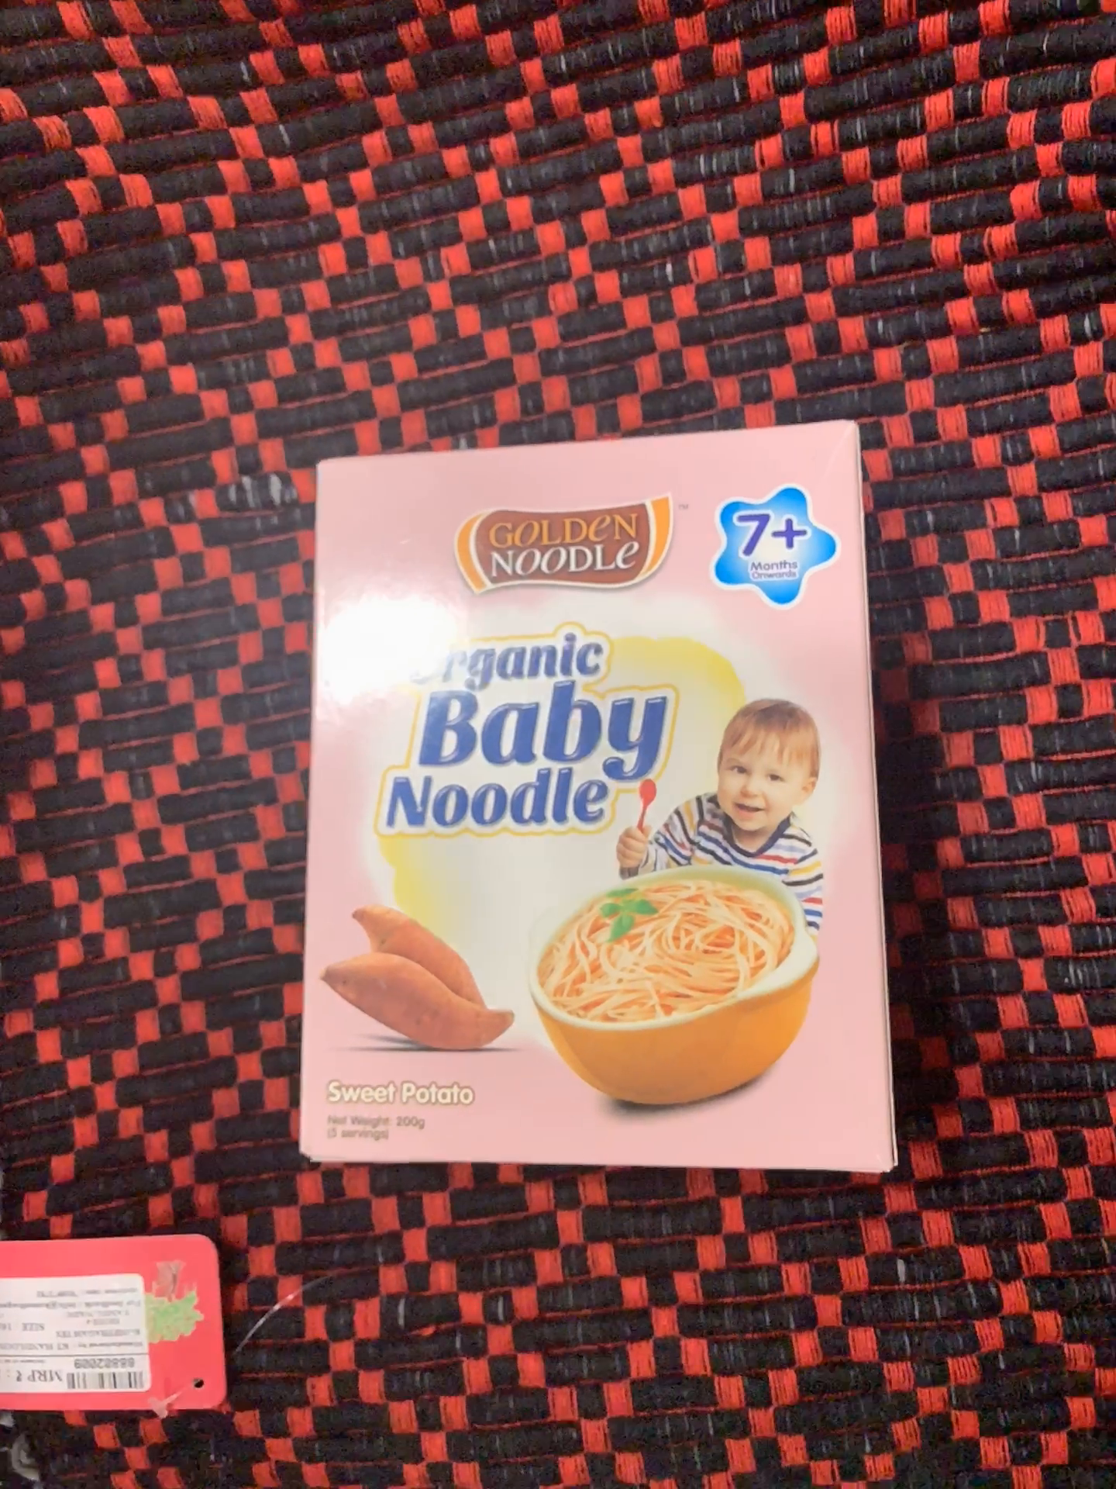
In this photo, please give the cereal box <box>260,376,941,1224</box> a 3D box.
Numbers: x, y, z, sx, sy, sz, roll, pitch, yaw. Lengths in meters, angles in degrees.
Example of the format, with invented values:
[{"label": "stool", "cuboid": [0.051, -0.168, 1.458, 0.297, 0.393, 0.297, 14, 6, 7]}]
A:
[{"label": "cereal box", "cuboid": [0.008, 0.012, 0.254, 0.130, 0.050, 0.160, -2, 83, 10]}]
